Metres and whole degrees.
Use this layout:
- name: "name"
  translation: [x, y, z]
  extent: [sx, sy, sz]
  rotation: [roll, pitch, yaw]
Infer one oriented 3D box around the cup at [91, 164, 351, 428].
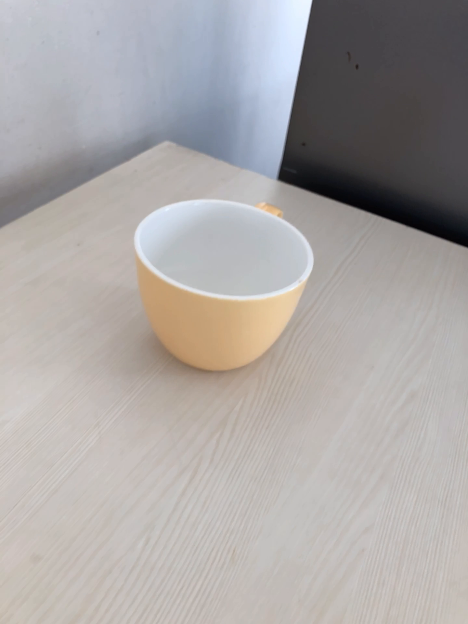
- name: "cup"
  translation: [-0.004, -0.021, 0.336]
  extent: [0.100, 0.079, 0.141]
  rotation: [24, 41, 17]
